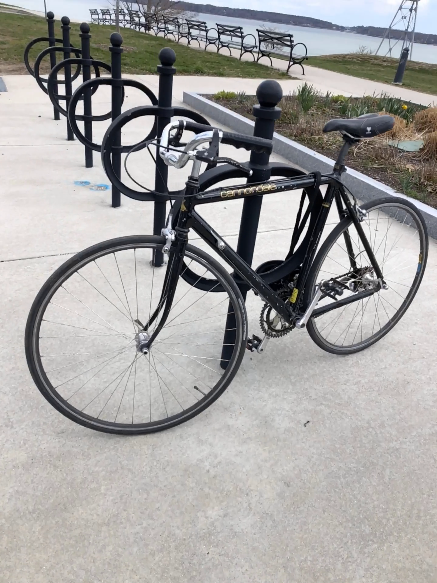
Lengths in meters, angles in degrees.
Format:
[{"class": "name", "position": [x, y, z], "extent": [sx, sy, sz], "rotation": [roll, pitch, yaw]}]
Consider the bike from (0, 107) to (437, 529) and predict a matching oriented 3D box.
[{"class": "bike", "position": [0.147, -0.045, 1.423], "extent": [1.386, 0.805, 0.487], "rotation": [-12, 35, -26]}]
